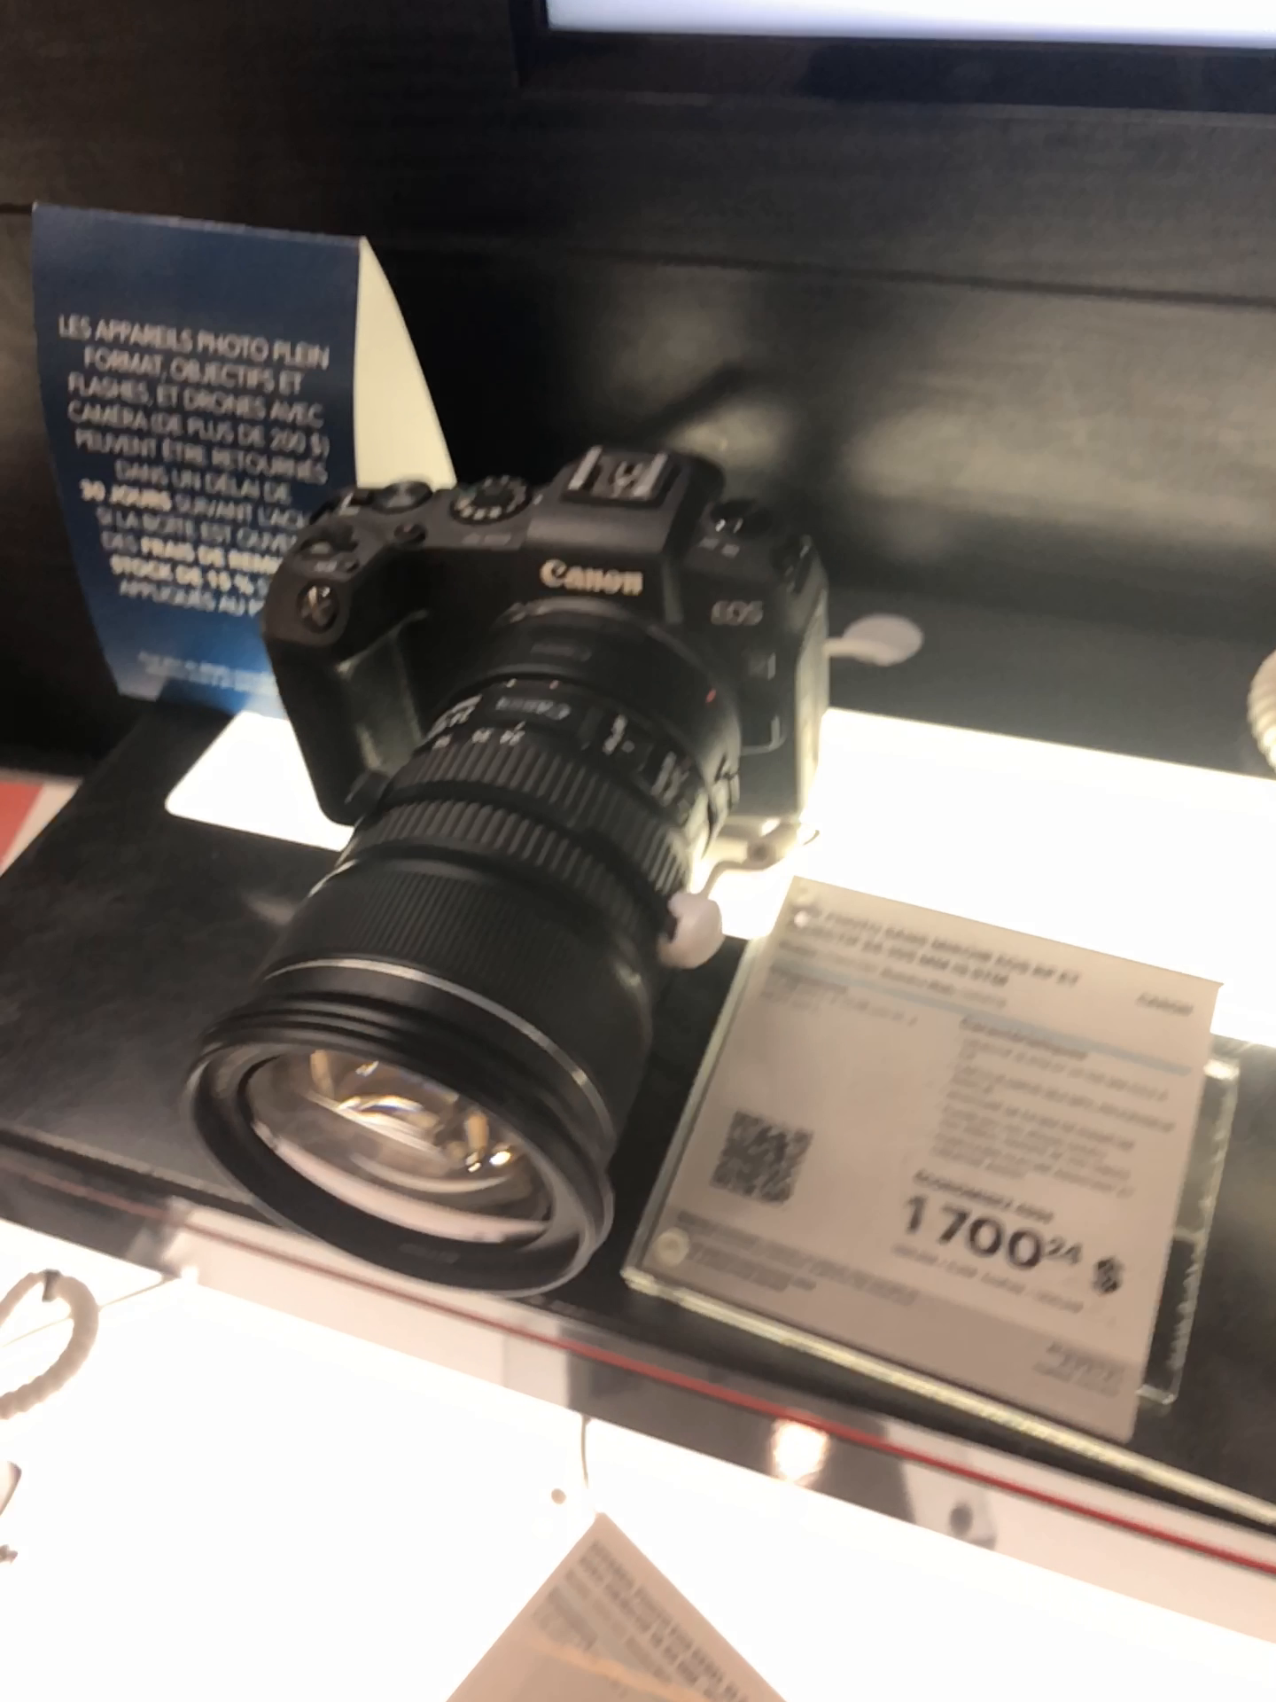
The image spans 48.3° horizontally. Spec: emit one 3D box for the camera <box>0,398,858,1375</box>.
[{"bbox_3d":[-0.034,-0.008,0.308,0.128,0.099,0.178,9,43,16],"label":"camera"}]
